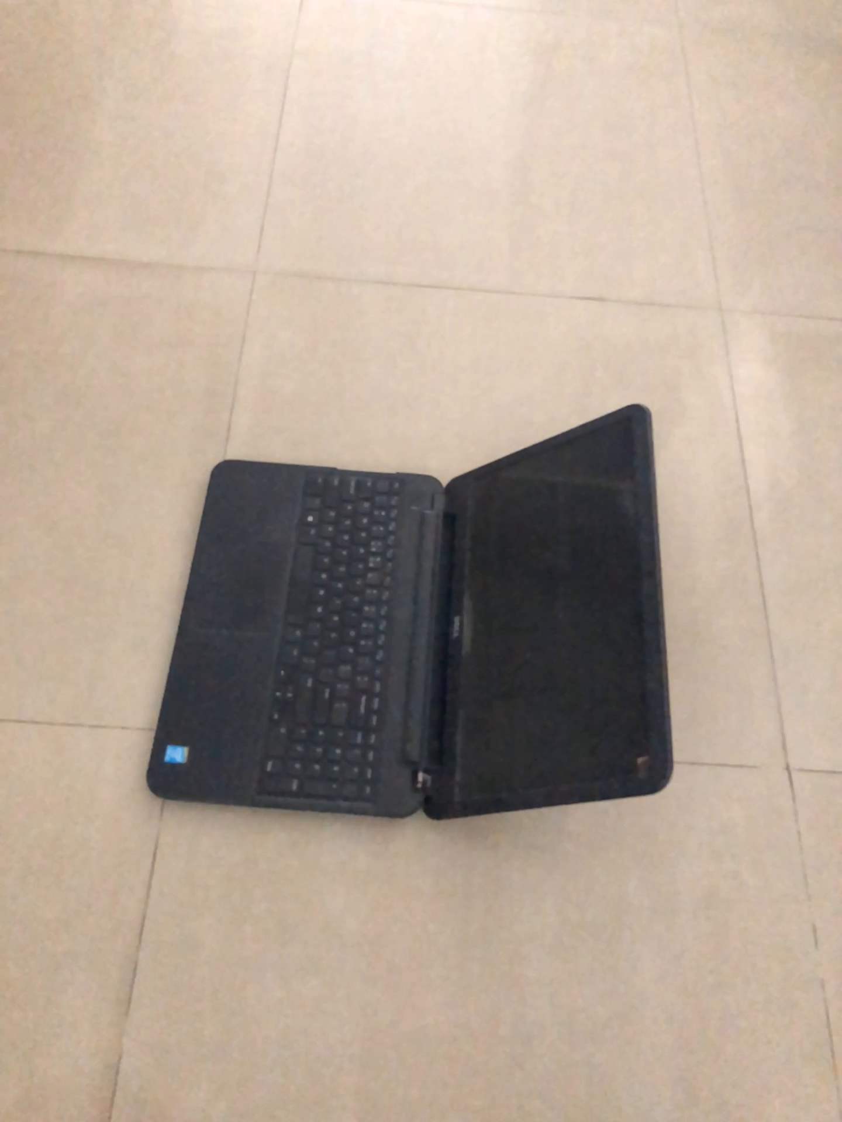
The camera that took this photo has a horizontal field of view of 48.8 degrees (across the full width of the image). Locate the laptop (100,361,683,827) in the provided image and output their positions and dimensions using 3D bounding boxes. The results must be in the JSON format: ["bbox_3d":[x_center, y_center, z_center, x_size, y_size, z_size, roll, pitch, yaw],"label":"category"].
[{"bbox_3d":[-0.013,0.026,0.836,0.427,0.164,0.358,4,62,0],"label":"laptop"}]
